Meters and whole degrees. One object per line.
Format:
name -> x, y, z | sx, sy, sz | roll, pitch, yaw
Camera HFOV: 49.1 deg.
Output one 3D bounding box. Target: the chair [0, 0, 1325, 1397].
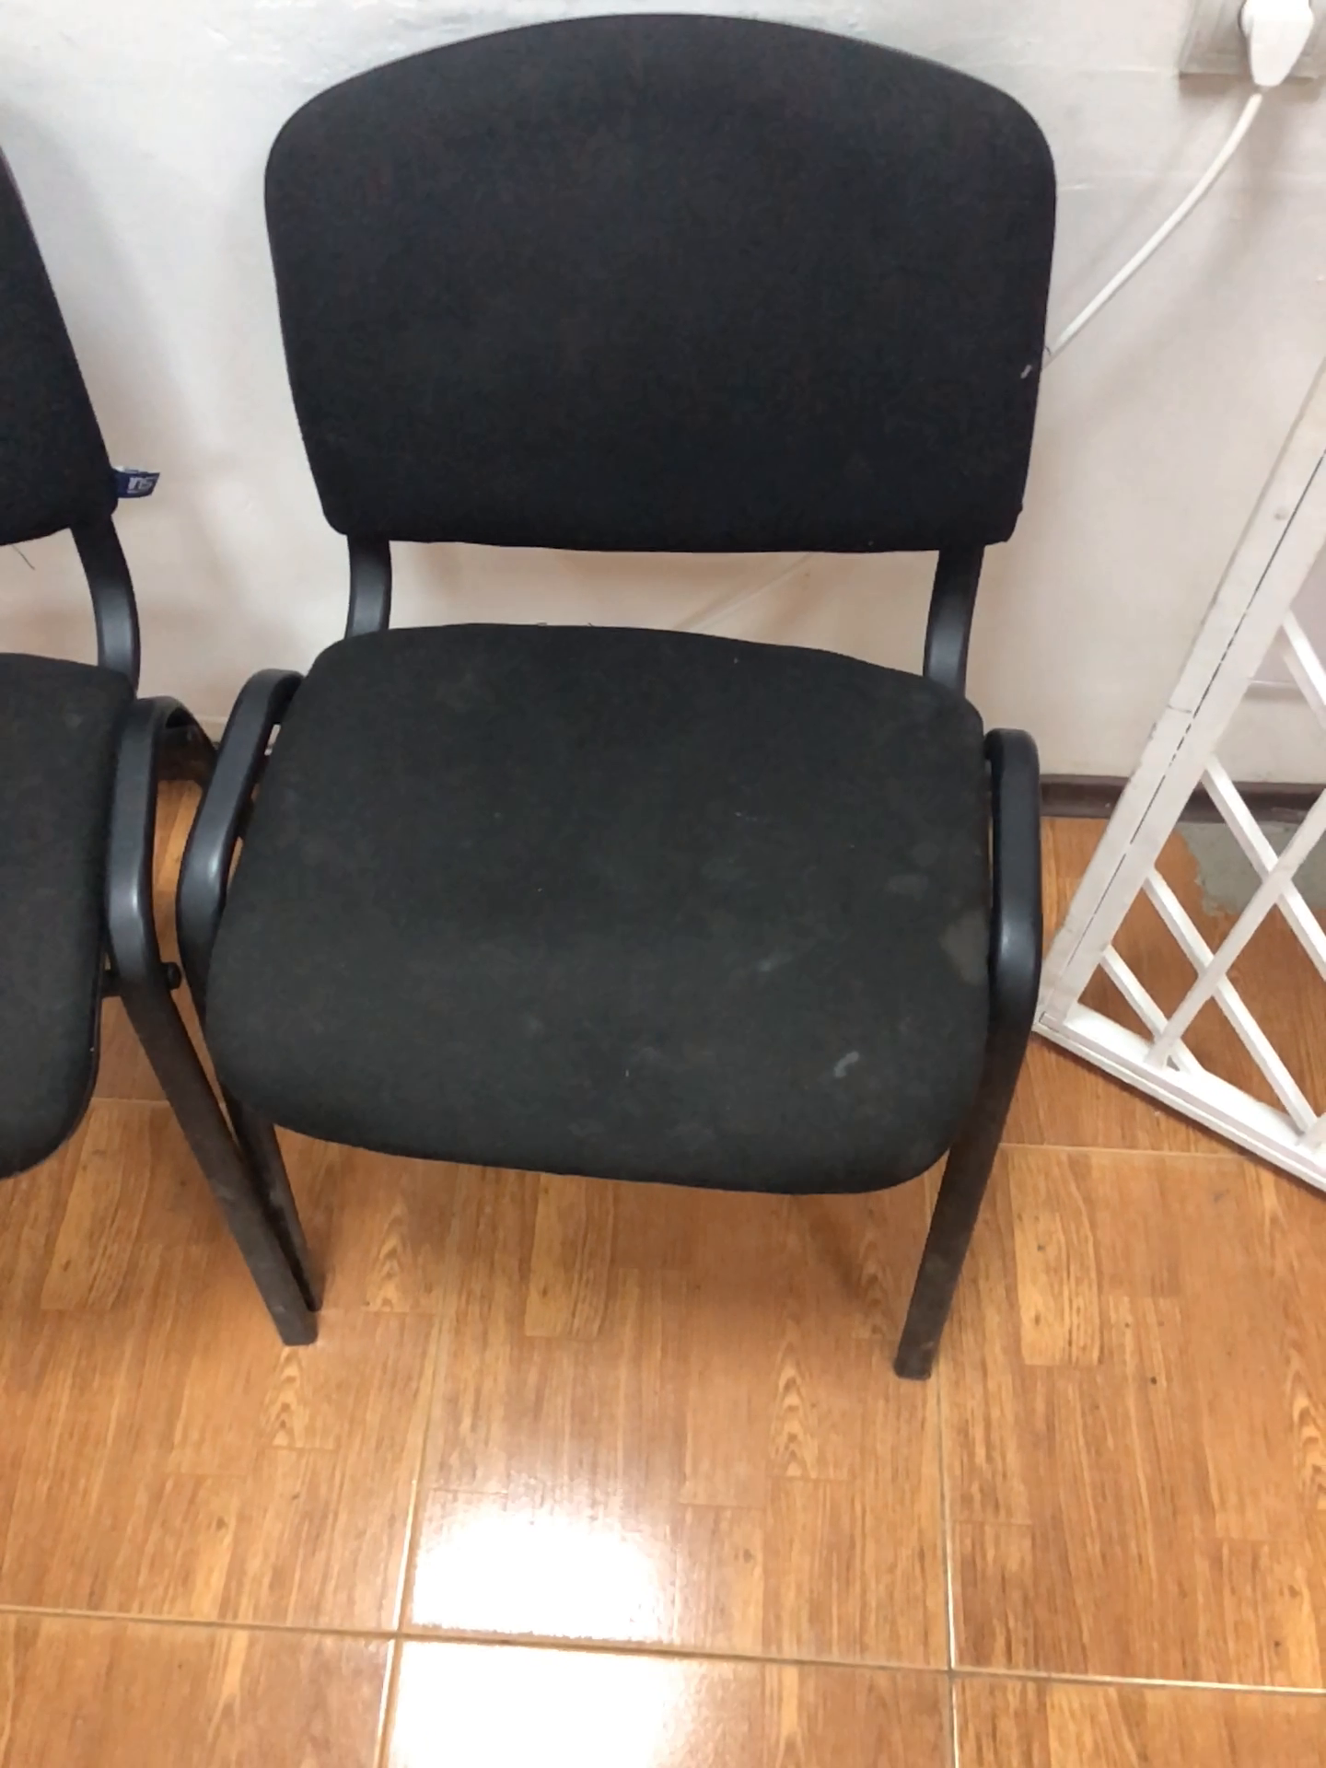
chair -> -0.016, -0.047, 0.909 | 0.520, 0.748, 0.511 | 3, 58, 3
